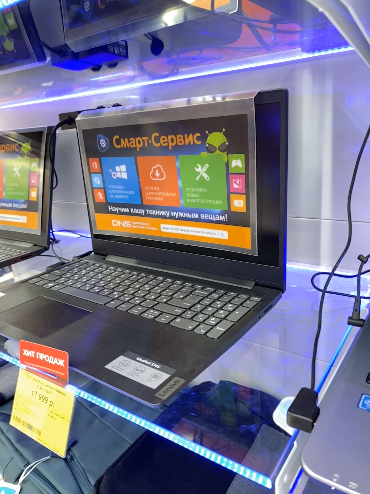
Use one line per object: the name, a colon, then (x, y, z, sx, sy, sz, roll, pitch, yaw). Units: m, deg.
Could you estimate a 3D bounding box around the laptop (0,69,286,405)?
laptop: (-0.098, -0.047, 0.466, 0.362, 0.239, 0.257, 8, 20, 35)
